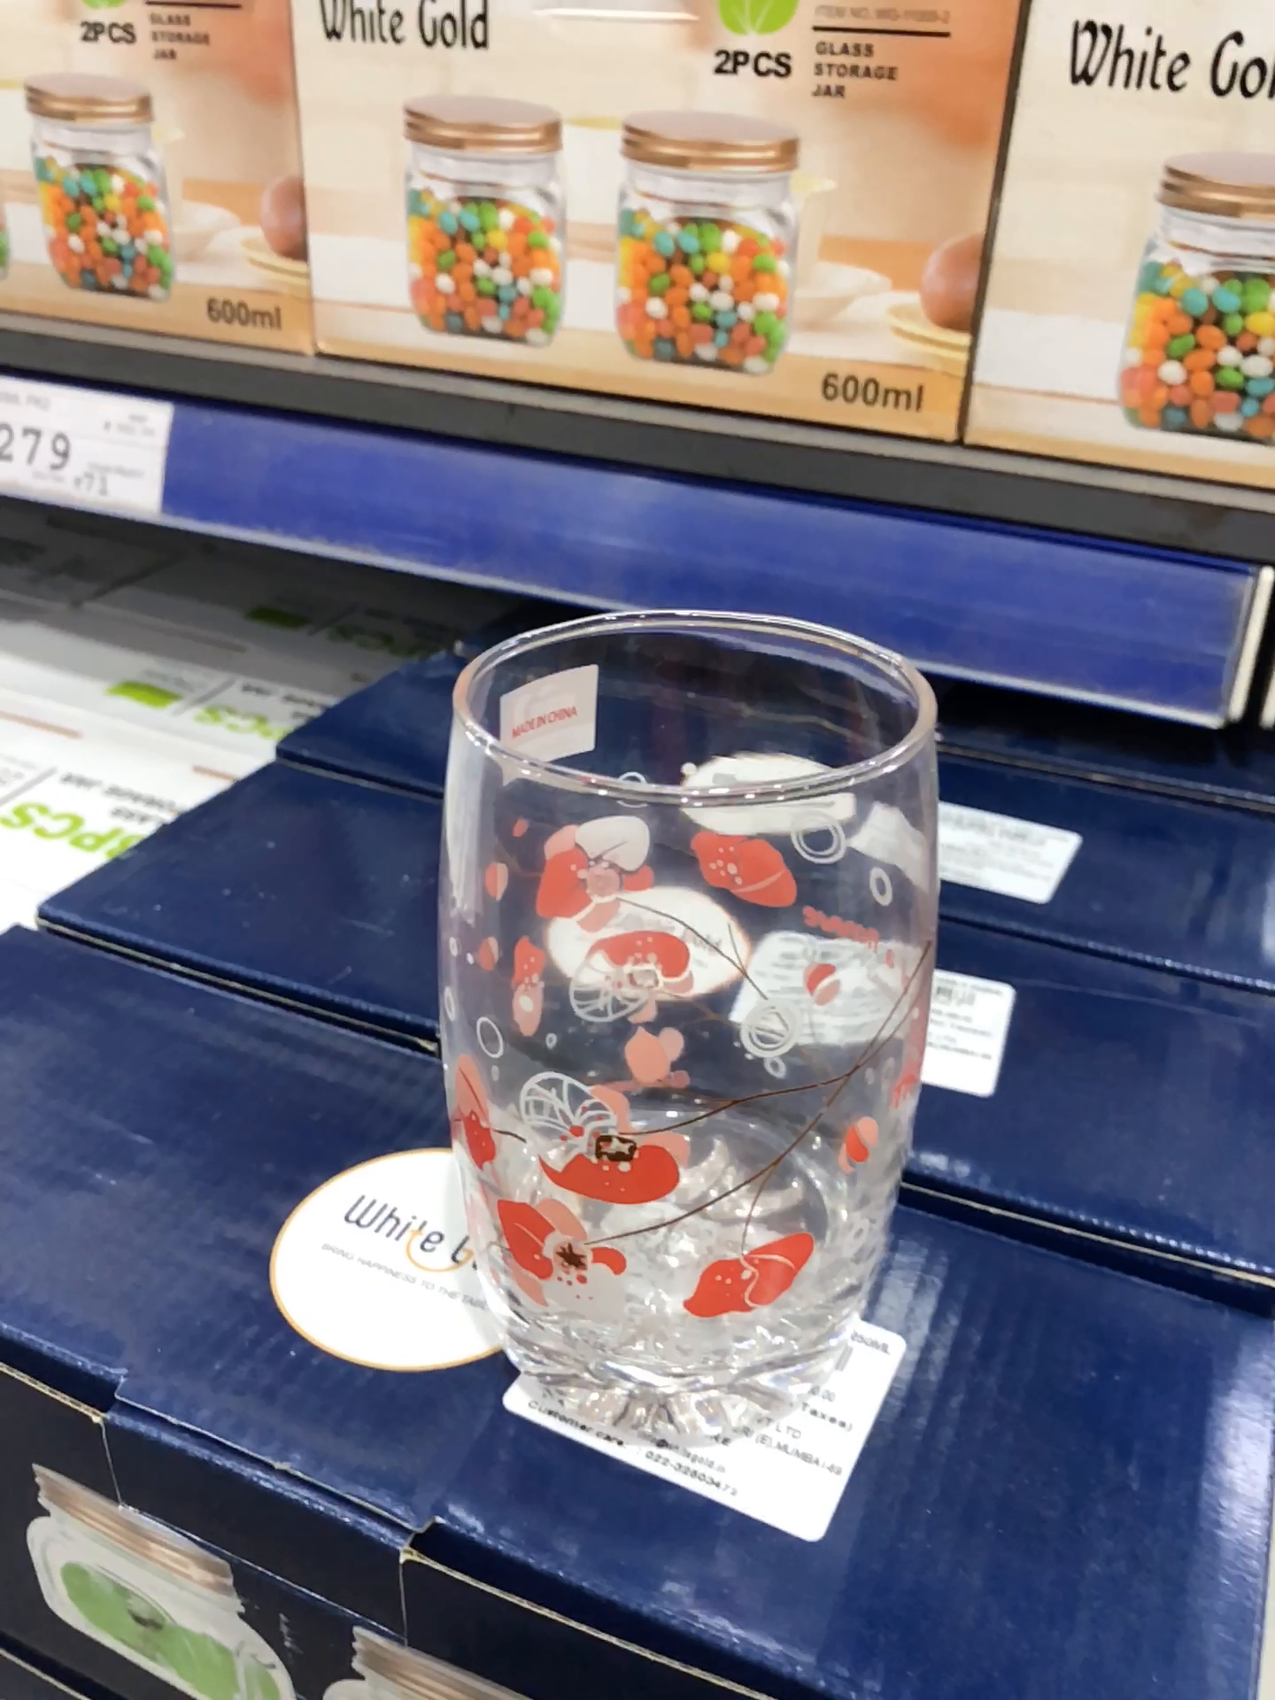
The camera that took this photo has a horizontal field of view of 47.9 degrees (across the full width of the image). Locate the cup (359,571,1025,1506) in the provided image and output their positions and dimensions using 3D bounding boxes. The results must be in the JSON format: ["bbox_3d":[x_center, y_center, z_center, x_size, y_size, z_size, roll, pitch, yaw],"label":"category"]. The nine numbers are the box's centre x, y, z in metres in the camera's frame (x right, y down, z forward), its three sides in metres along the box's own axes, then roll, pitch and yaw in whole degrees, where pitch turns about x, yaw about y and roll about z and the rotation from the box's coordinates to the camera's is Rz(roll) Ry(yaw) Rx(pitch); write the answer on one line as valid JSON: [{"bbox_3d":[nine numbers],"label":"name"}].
[{"bbox_3d":[0.009,0.023,0.203,0.070,0.100,0.070,2,30,-1],"label":"cup"}]
